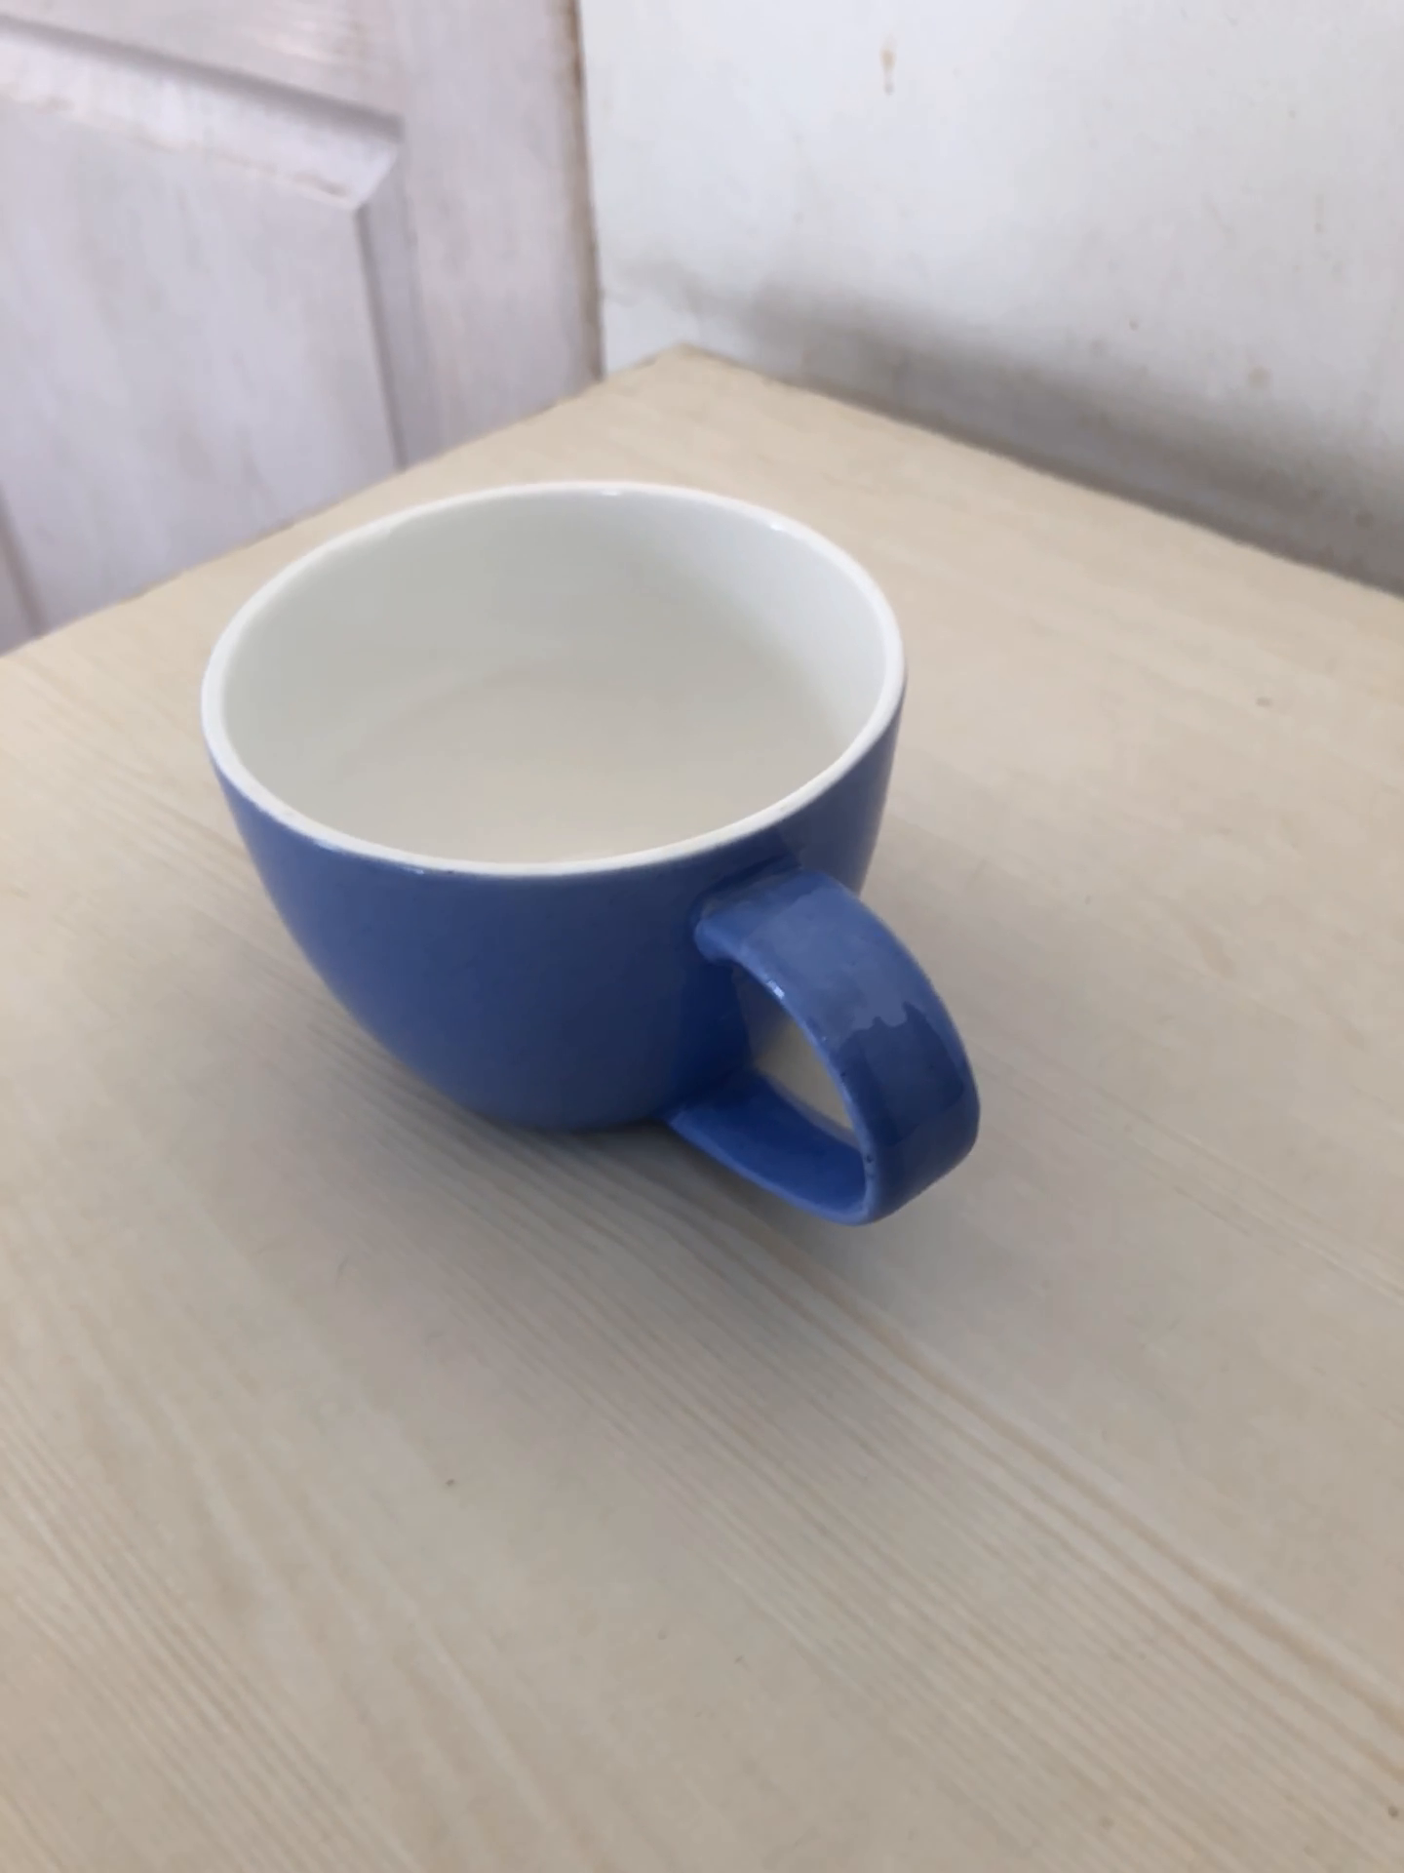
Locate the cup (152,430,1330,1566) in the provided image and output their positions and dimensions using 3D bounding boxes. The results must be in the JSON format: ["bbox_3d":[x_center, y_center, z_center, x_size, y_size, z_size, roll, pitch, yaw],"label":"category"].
[{"bbox_3d":[-0.004,-0.006,0.245,0.100,0.070,0.150,-24,46,-22],"label":"cup"}]
